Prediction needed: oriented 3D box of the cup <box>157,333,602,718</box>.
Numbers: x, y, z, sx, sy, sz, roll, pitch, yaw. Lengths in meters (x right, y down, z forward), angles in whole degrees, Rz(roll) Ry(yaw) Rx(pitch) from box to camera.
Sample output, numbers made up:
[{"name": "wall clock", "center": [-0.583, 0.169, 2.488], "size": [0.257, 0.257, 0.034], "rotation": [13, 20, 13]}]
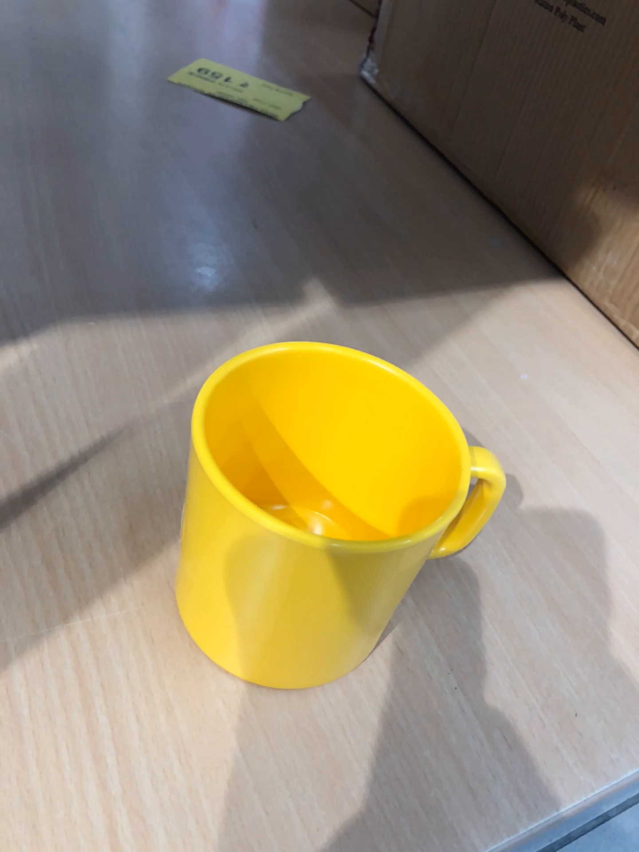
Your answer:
[{"name": "cup", "center": [0.008, 0.031, 0.239], "size": [0.110, 0.089, 0.080], "rotation": [0, 45, -19]}]
